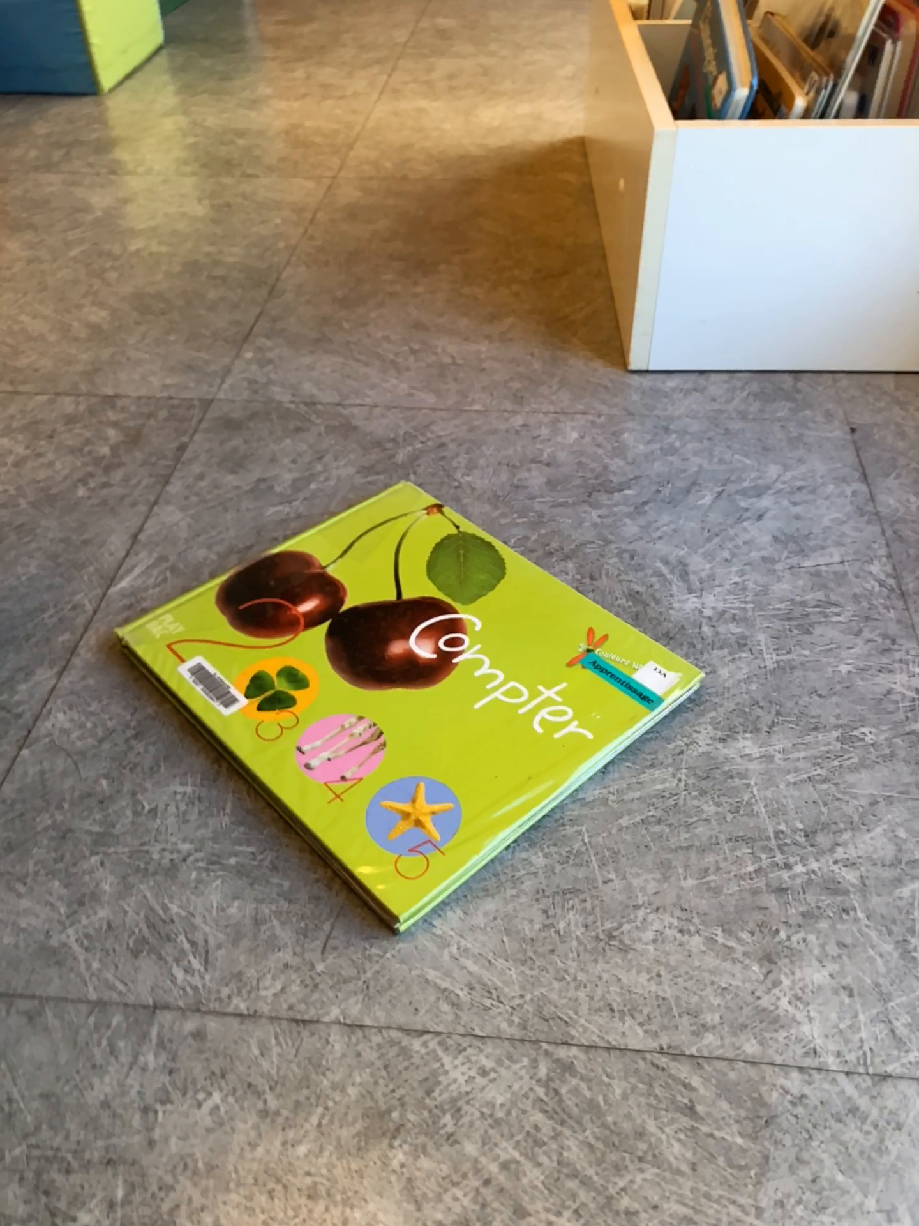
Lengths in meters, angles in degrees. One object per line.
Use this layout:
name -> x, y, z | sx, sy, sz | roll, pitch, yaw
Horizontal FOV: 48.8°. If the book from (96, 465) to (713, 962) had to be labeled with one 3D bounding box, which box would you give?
book -> -0.035, 0.027, 0.555 | 0.223, 0.021, 0.256 | -34, 51, -28
